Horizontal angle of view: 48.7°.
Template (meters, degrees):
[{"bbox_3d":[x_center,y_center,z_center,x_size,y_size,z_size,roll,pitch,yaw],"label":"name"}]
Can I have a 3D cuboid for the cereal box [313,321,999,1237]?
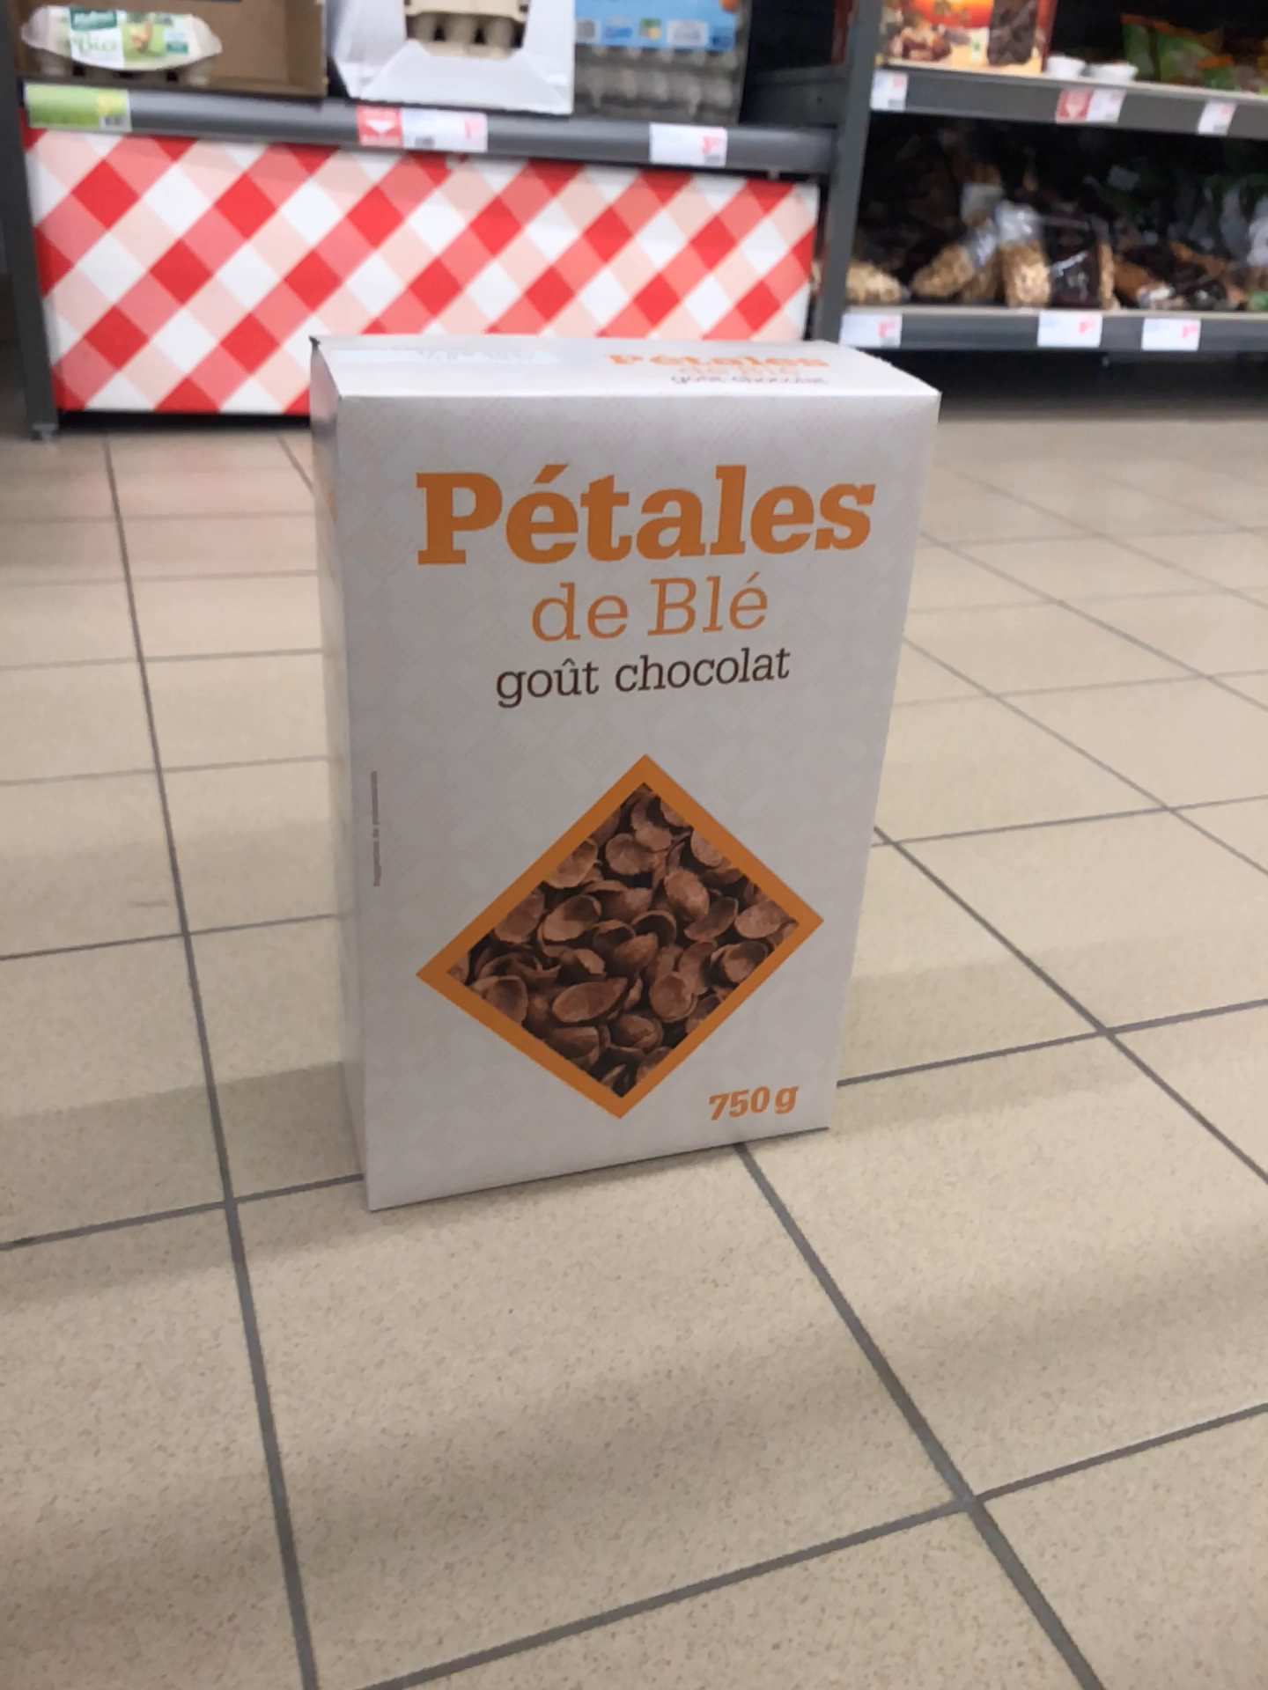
[{"bbox_3d":[-0.005,-0.023,0.495,0.190,0.288,0.100,-5,28,-17],"label":"cereal box"}]
